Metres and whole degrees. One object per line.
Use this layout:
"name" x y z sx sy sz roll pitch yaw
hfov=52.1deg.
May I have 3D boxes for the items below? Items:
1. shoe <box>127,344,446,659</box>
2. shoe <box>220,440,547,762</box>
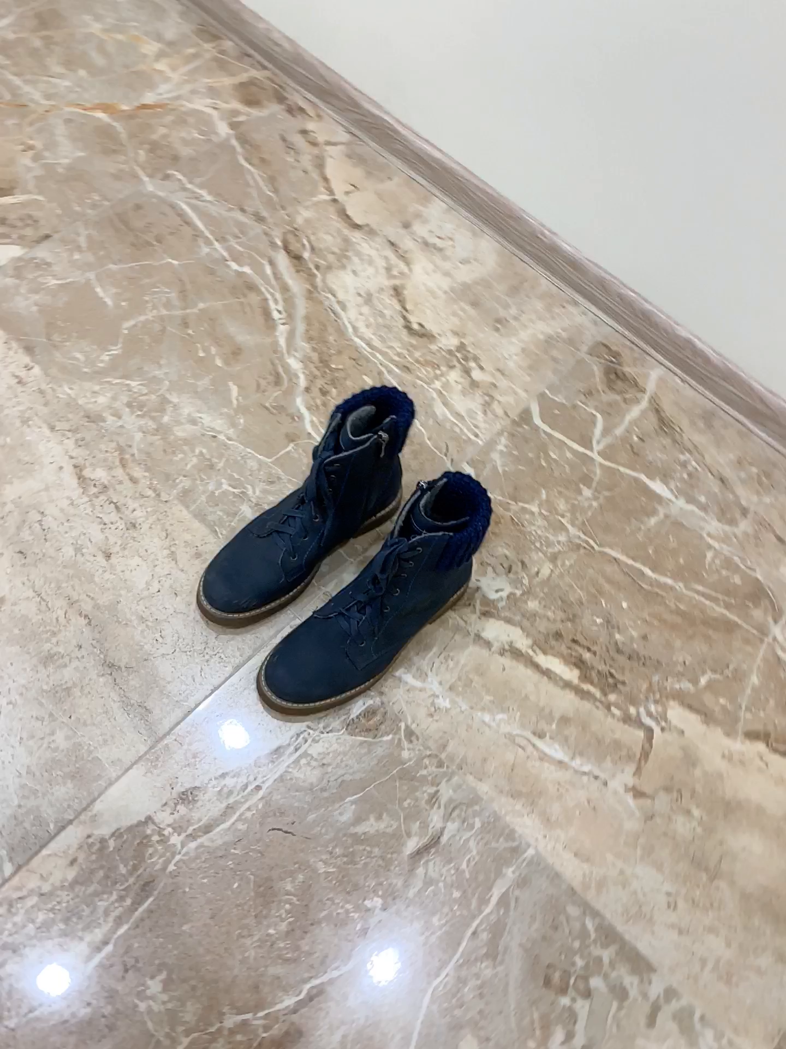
"shoe" -0.095 -0.016 0.774 0.260 0.200 0.101 -35 73 -21
"shoe" -0.011 0.076 0.739 0.260 0.200 0.101 -35 73 -21
